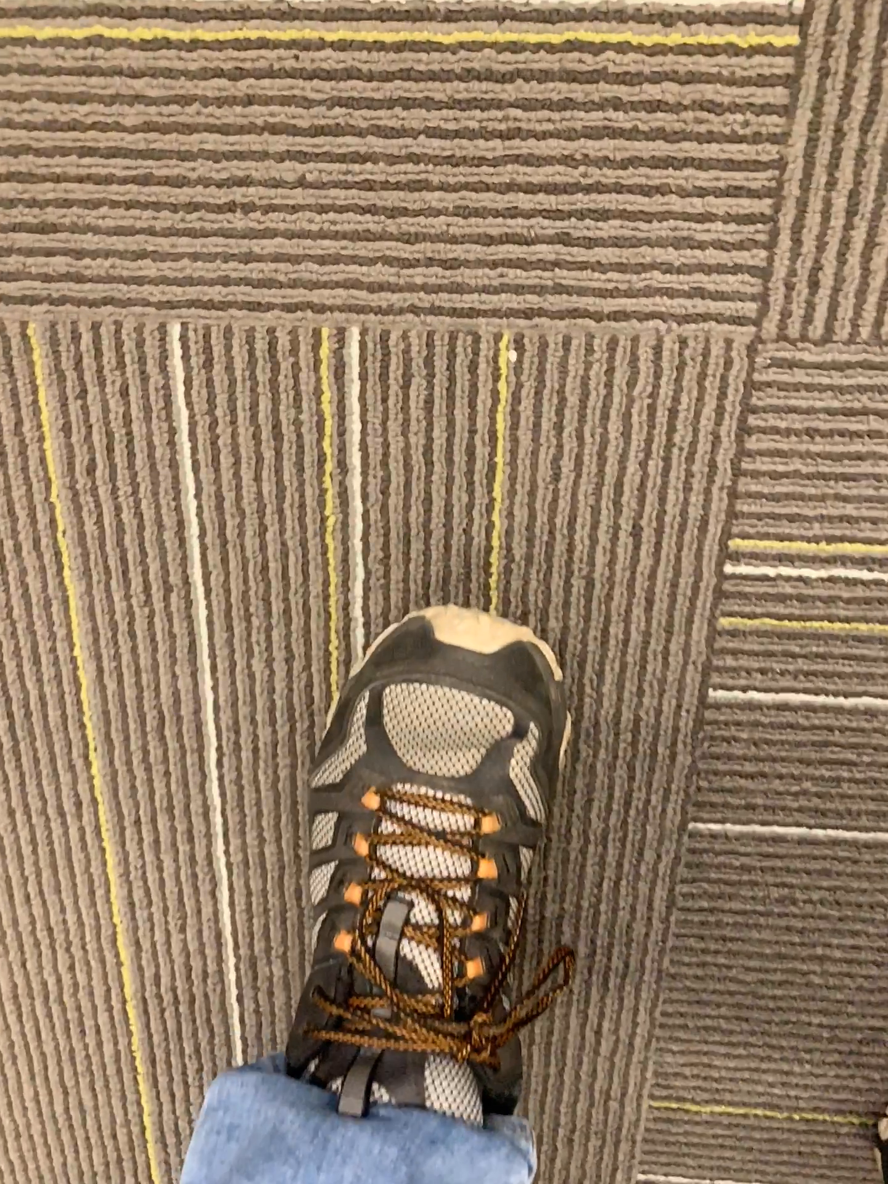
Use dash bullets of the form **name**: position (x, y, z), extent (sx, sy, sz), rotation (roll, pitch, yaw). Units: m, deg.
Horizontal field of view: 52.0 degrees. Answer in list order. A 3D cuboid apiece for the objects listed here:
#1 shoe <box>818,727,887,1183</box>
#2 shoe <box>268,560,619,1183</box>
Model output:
- **shoe**: position (0.350, 0.240, 0.456), extent (0.122, 0.095, 0.323), rotation (25, 113, -7)
- **shoe**: position (-0.010, 0.158, 0.448), extent (0.125, 0.095, 0.324), rotation (7, 113, 1)
